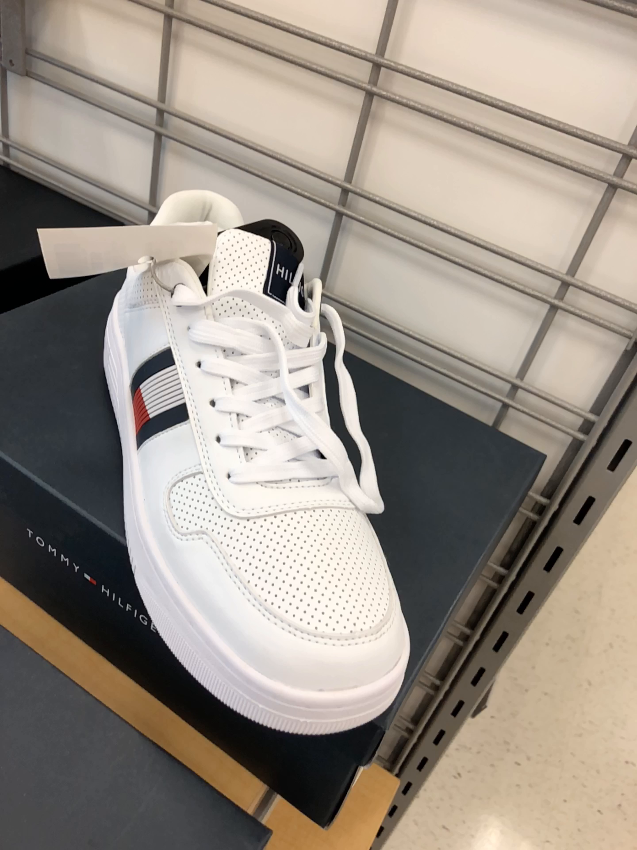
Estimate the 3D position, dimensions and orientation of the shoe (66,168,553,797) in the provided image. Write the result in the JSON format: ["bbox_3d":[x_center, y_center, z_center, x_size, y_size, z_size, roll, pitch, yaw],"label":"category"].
[{"bbox_3d":[-0.040,-0.007,0.331,0.110,0.109,0.282,-5,41,-26],"label":"shoe"}]
